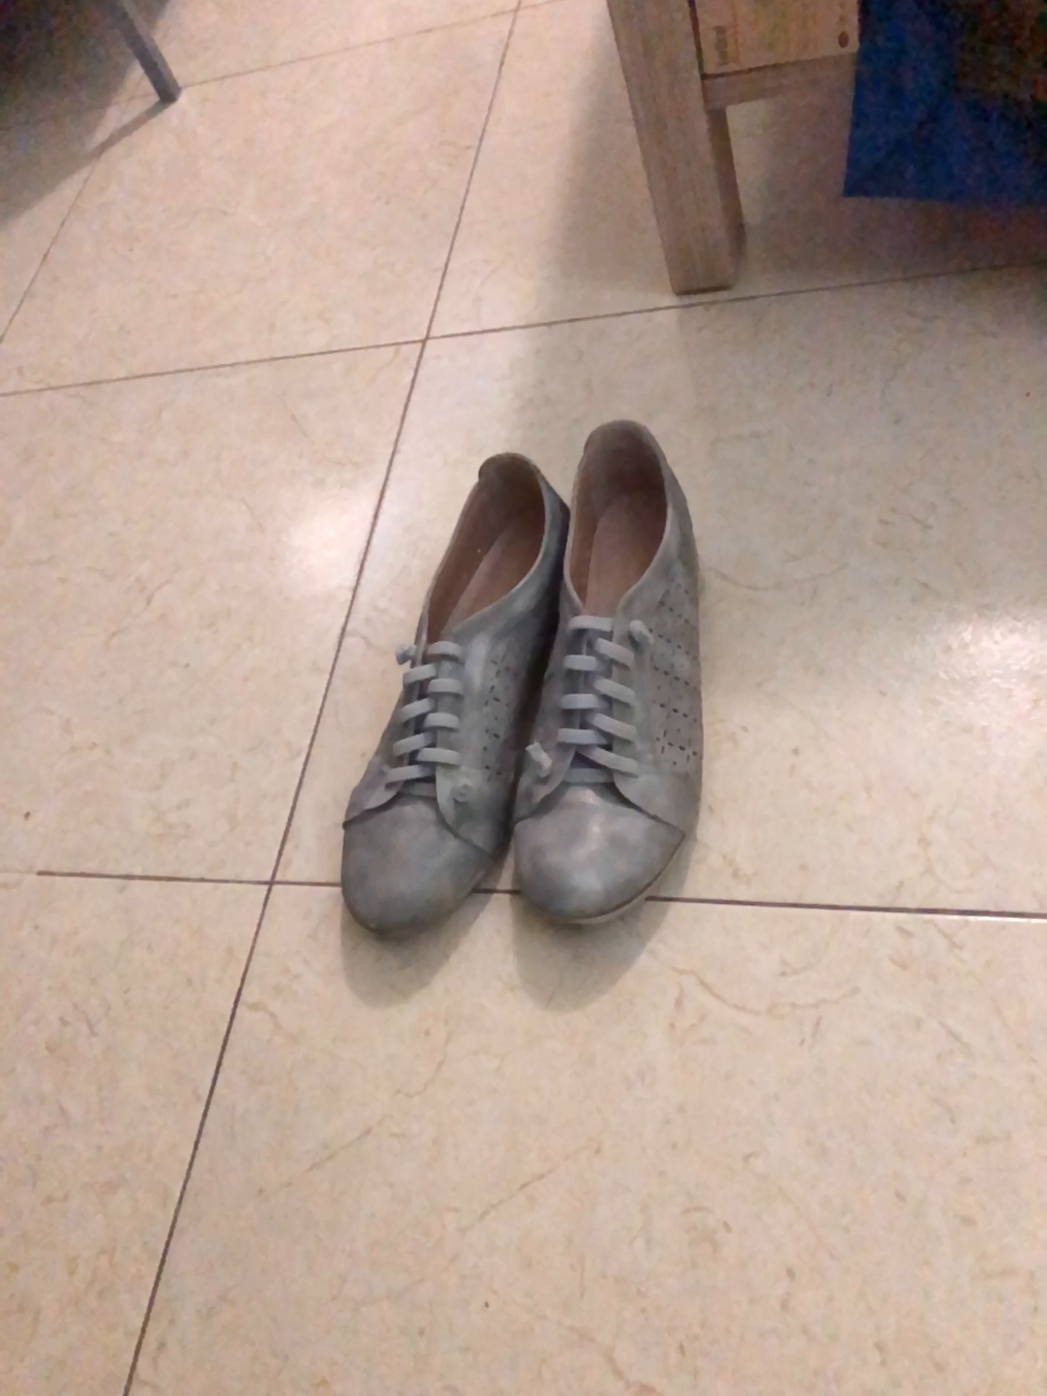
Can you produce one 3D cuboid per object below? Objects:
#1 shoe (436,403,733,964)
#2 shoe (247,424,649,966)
[{"bbox_3d":[0.046,-0.016,0.632,0.100,0.100,0.290,-1,58,20],"label":"shoe"},{"bbox_3d":[-0.029,-0.012,0.664,0.100,0.100,0.290,10,62,25],"label":"shoe"}]
